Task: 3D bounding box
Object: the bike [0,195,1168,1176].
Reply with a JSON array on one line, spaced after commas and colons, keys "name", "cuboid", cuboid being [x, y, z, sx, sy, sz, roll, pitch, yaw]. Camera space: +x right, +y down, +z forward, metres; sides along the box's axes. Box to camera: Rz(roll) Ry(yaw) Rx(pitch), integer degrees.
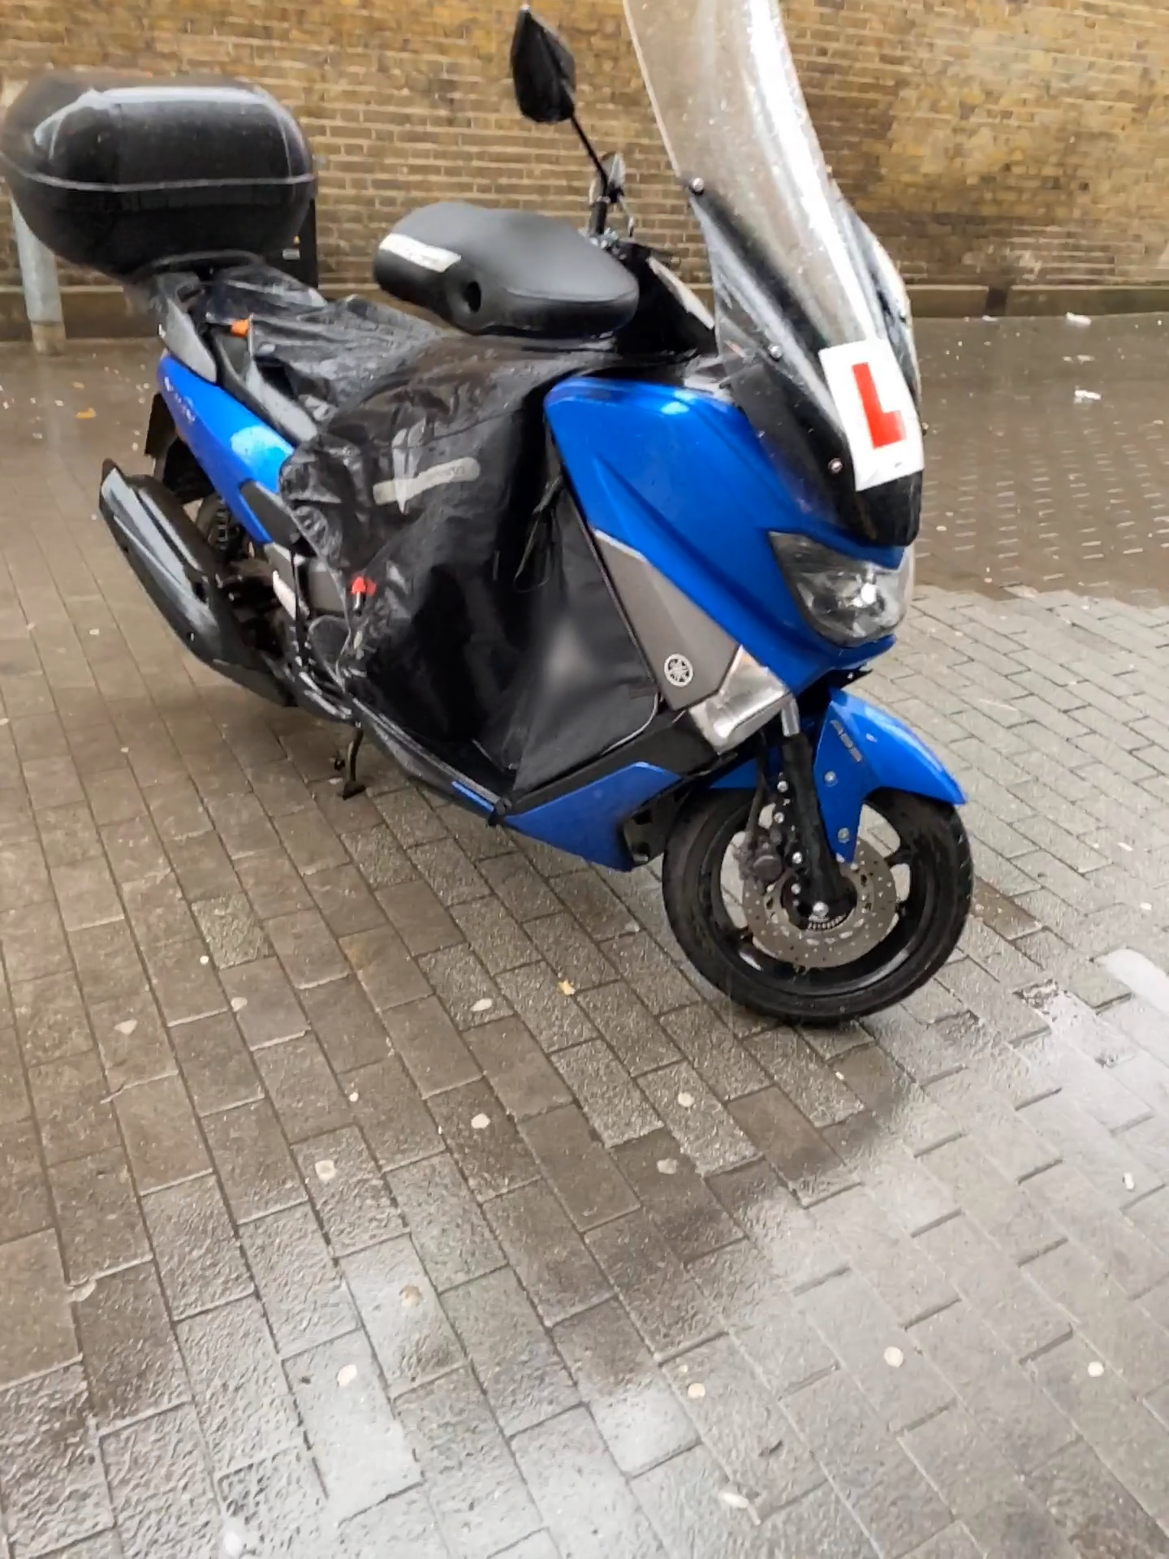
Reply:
[{"name": "bike", "cuboid": [-0.165, -0.330, 2.007, 1.734, 0.998, 0.680, 24, 35, 30]}]
